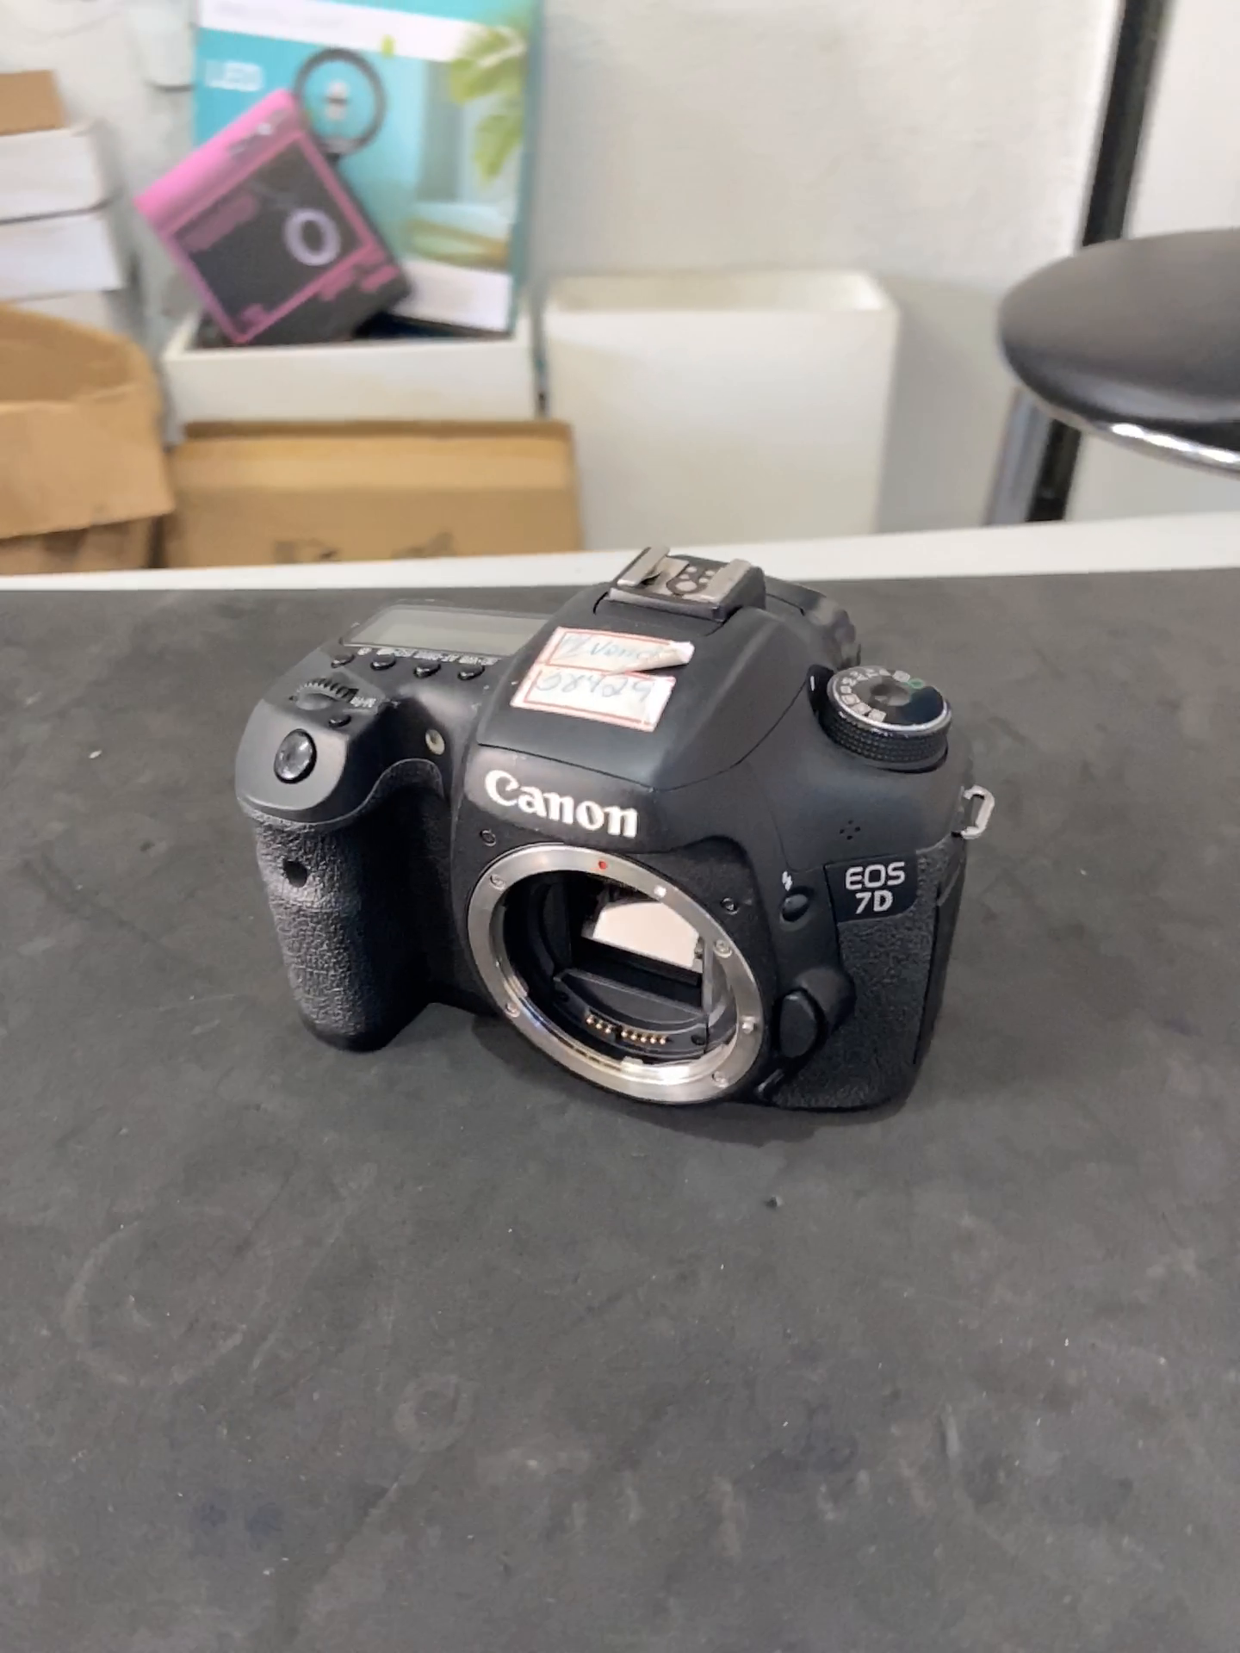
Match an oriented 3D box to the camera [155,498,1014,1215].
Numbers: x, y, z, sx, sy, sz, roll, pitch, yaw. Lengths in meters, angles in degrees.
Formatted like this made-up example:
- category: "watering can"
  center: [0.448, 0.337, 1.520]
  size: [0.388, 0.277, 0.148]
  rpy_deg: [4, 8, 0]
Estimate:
- category: "camera"
  center: [-0.004, 0.000, 0.288]
  size: [0.152, 0.101, 0.083]
  rpy_deg: [13, 39, 19]
